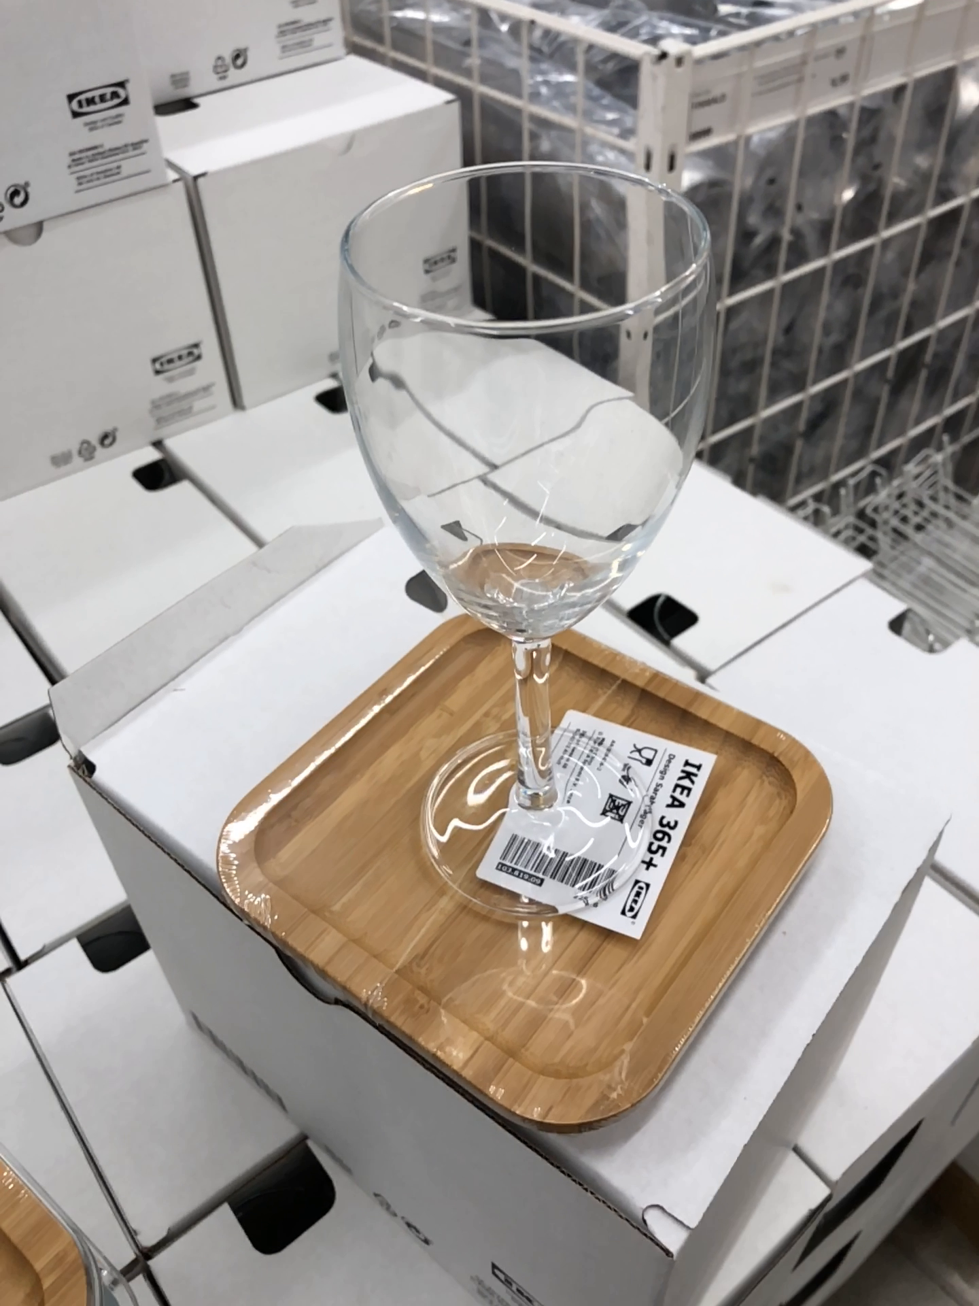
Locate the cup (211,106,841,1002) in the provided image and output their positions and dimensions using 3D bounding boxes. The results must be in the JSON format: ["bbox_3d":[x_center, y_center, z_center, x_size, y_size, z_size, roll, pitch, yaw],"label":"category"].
[{"bbox_3d":[0.009,-0.015,0.259,0.080,0.179,0.080,-1,44,1],"label":"cup"}]
